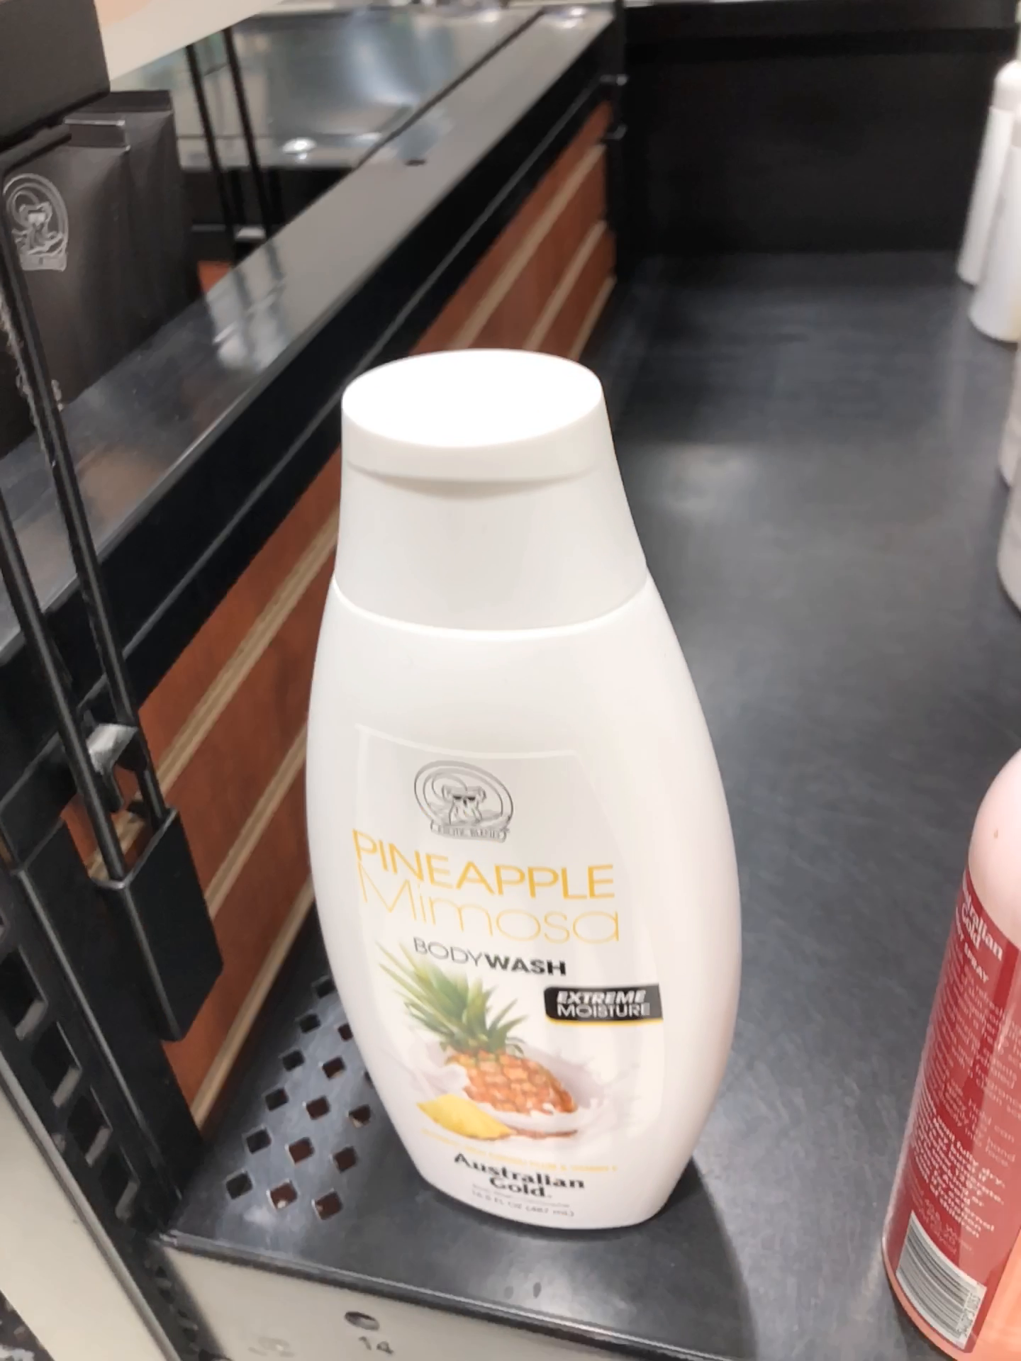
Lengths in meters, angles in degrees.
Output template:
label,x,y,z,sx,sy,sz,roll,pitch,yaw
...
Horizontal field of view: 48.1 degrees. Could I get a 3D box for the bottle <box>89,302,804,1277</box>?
label,x,y,z,sx,sy,sz,roll,pitch,yaw
bottle,0.001,0.036,0.246,0.100,0.214,0.060,6,39,14
